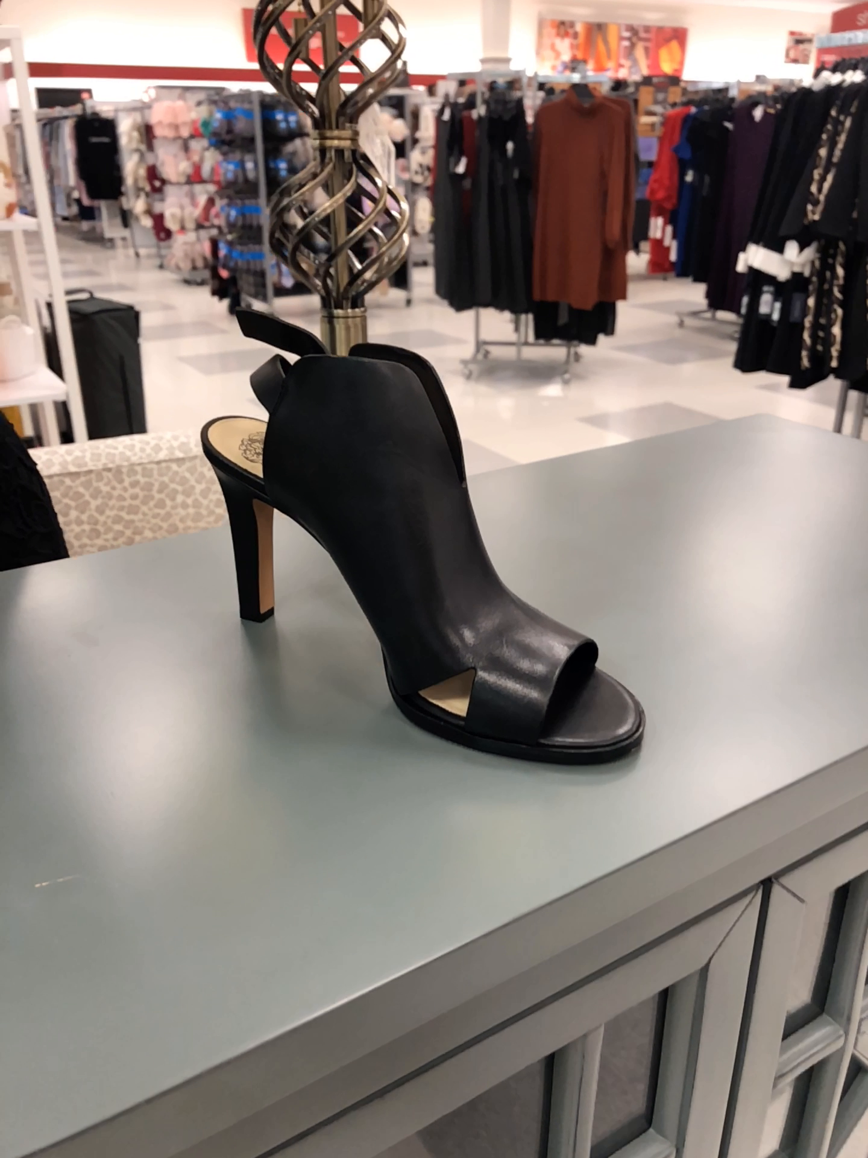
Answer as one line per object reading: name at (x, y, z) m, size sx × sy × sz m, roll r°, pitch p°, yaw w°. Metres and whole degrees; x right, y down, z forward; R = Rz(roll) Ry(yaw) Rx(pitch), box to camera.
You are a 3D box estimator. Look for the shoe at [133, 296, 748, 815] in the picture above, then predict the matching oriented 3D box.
shoe at (-0.007, -0.029, 0.413) m, size 0.236 × 0.150 × 0.095 m, roll 17°, pitch 29°, yaw 34°
